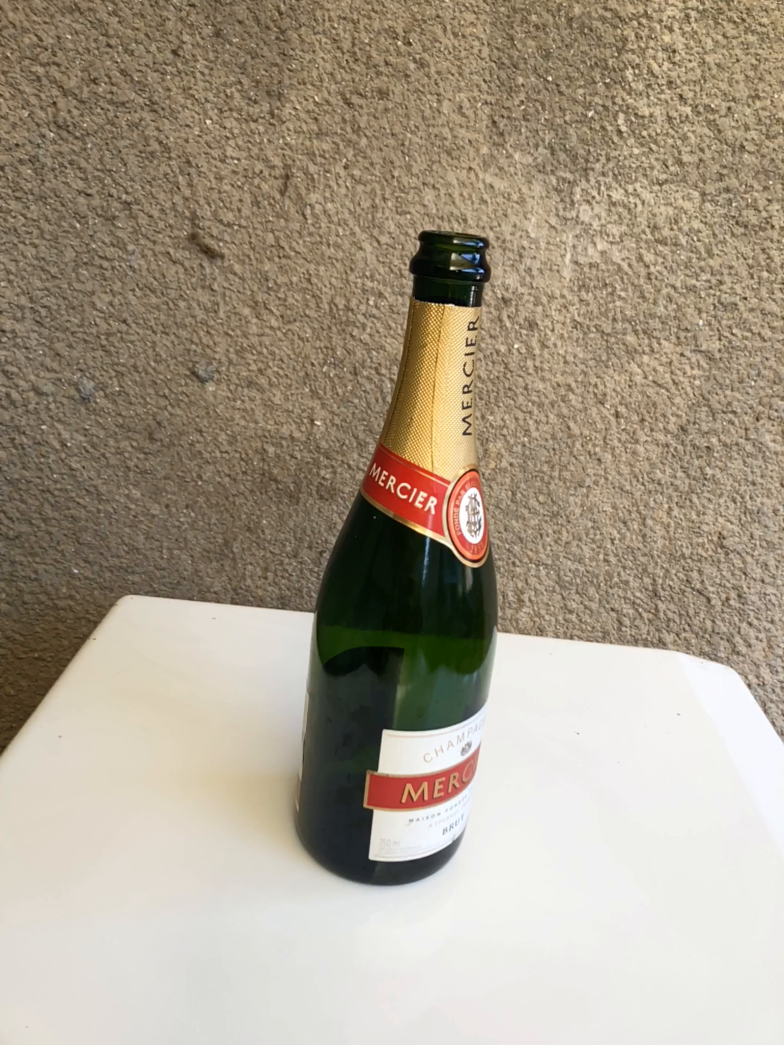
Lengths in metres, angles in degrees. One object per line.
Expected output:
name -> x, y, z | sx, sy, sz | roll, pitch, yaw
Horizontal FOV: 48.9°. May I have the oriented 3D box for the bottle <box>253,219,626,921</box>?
bottle -> 0.013, 0.020, 0.398 | 0.090, 0.289, 0.101 | 24, 26, 37
